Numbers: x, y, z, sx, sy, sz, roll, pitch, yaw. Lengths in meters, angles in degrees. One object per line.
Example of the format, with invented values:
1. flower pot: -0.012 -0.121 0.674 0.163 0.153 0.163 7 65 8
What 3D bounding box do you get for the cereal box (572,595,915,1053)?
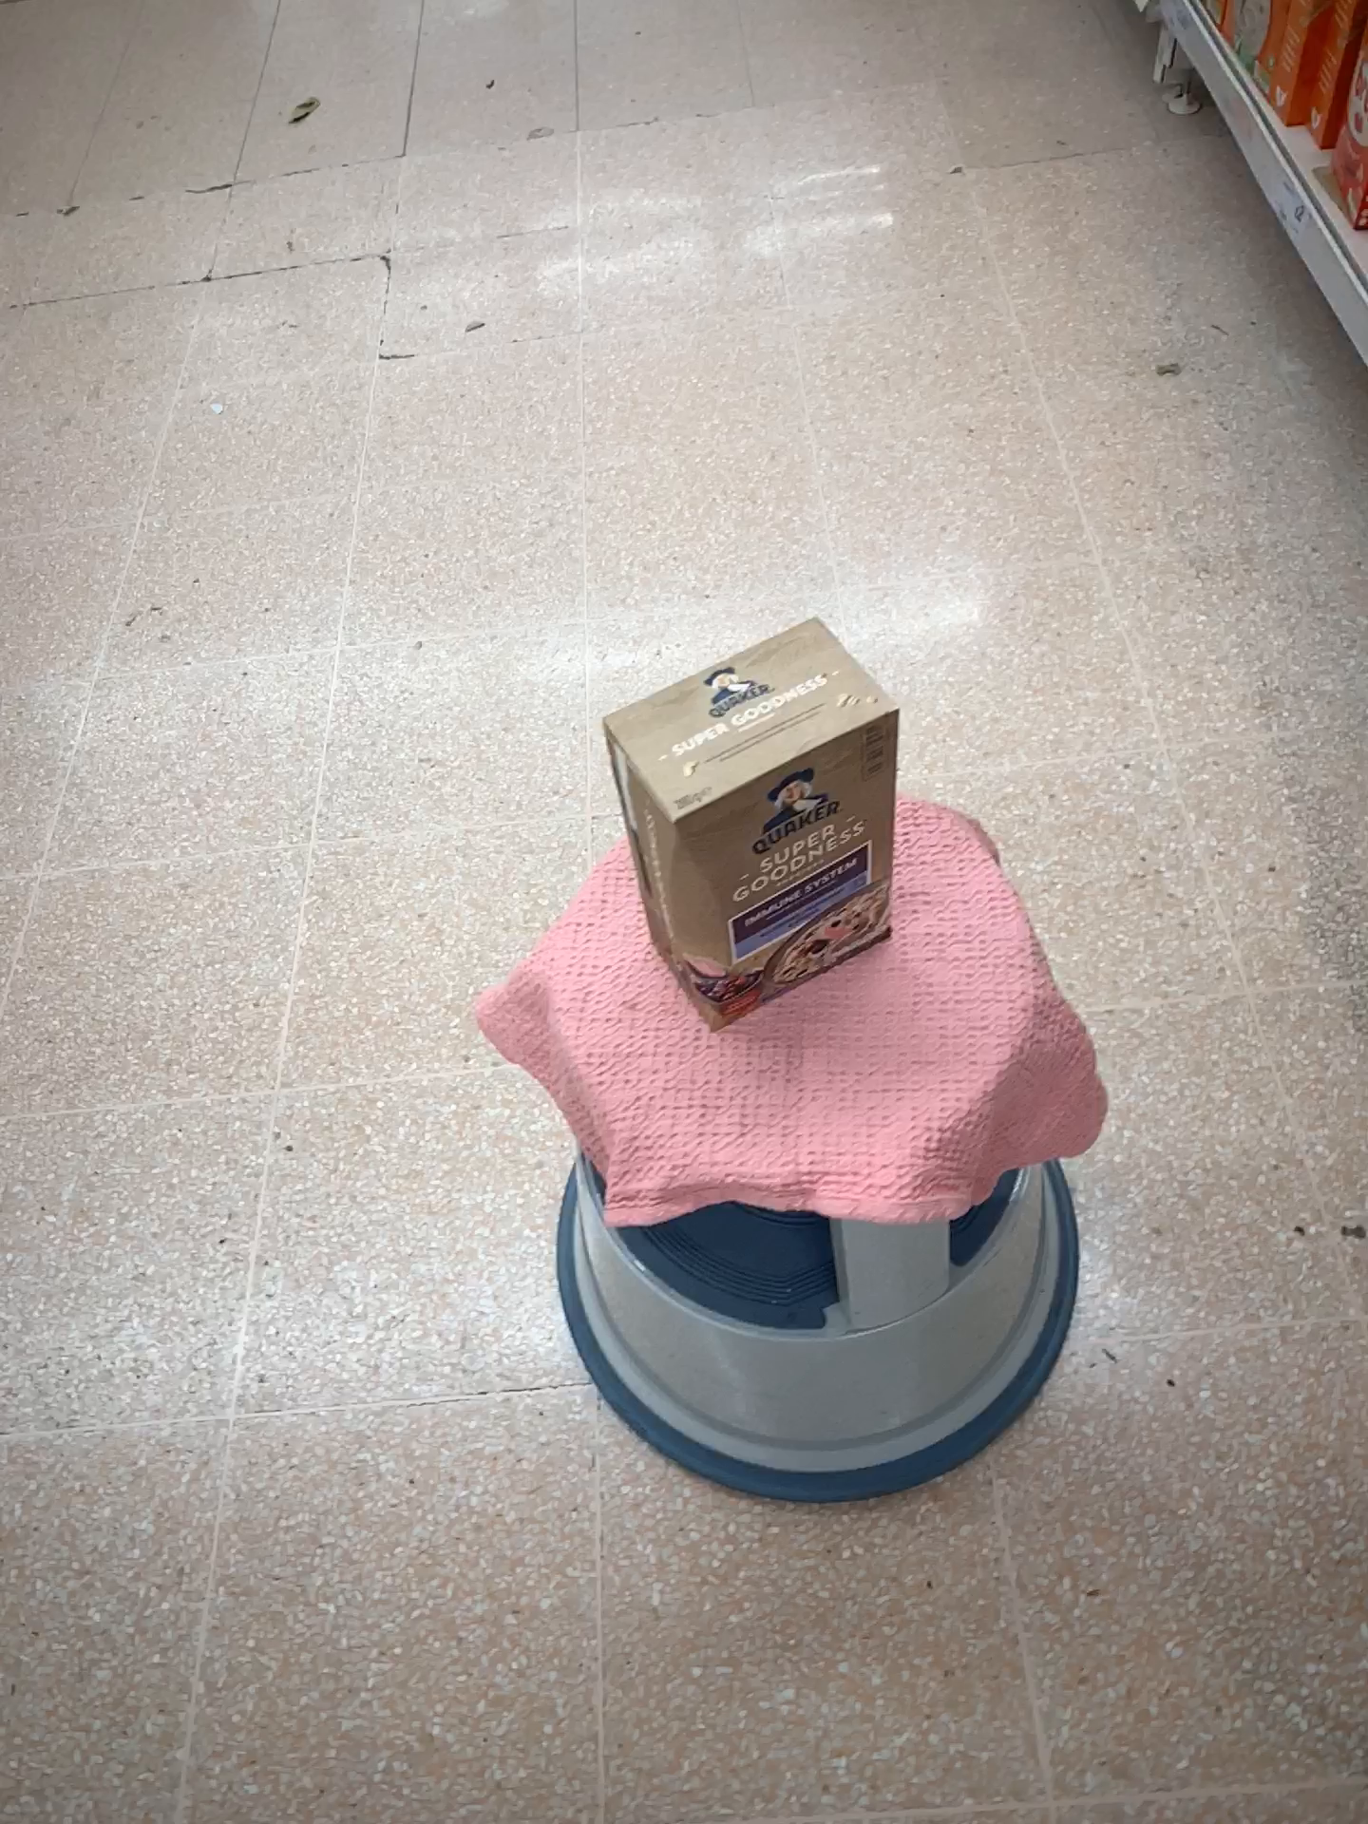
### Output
1. cereal box: 0.040 -0.042 0.779 0.140 0.208 0.101 -27 56 -11
